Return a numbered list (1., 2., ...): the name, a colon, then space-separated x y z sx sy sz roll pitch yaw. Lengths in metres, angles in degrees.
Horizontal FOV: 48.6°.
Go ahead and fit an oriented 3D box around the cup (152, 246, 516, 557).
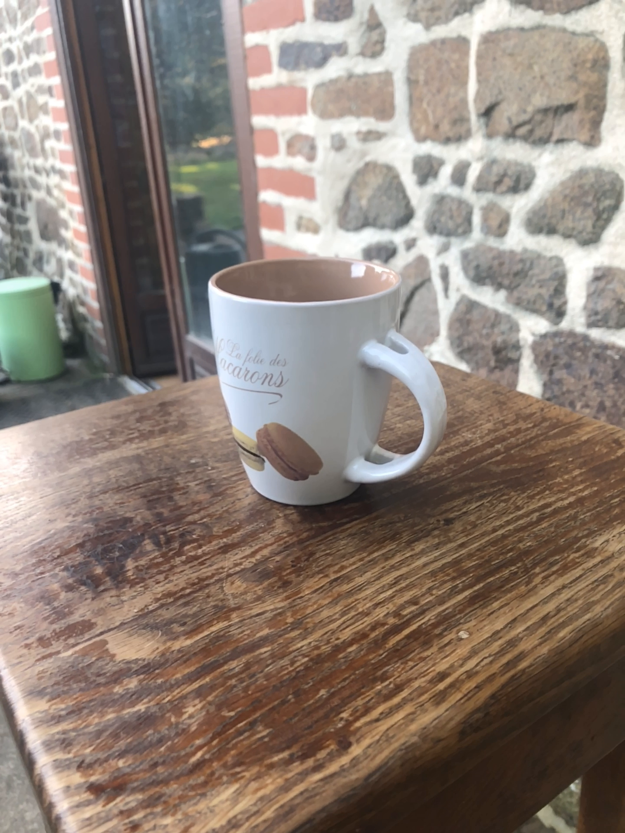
1. cup: 0.010 -0.018 0.311 0.123 0.090 0.094 16 30 37
